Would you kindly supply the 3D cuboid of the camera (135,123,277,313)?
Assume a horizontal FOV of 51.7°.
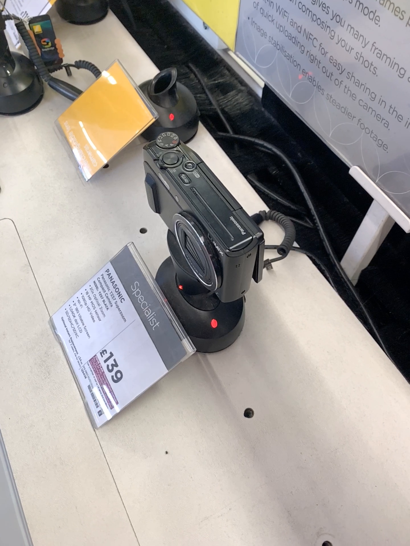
[{"bbox_3d":[-0.003,-0.037,0.276,0.030,0.060,0.111,-28,63,-16],"label":"camera"}]
